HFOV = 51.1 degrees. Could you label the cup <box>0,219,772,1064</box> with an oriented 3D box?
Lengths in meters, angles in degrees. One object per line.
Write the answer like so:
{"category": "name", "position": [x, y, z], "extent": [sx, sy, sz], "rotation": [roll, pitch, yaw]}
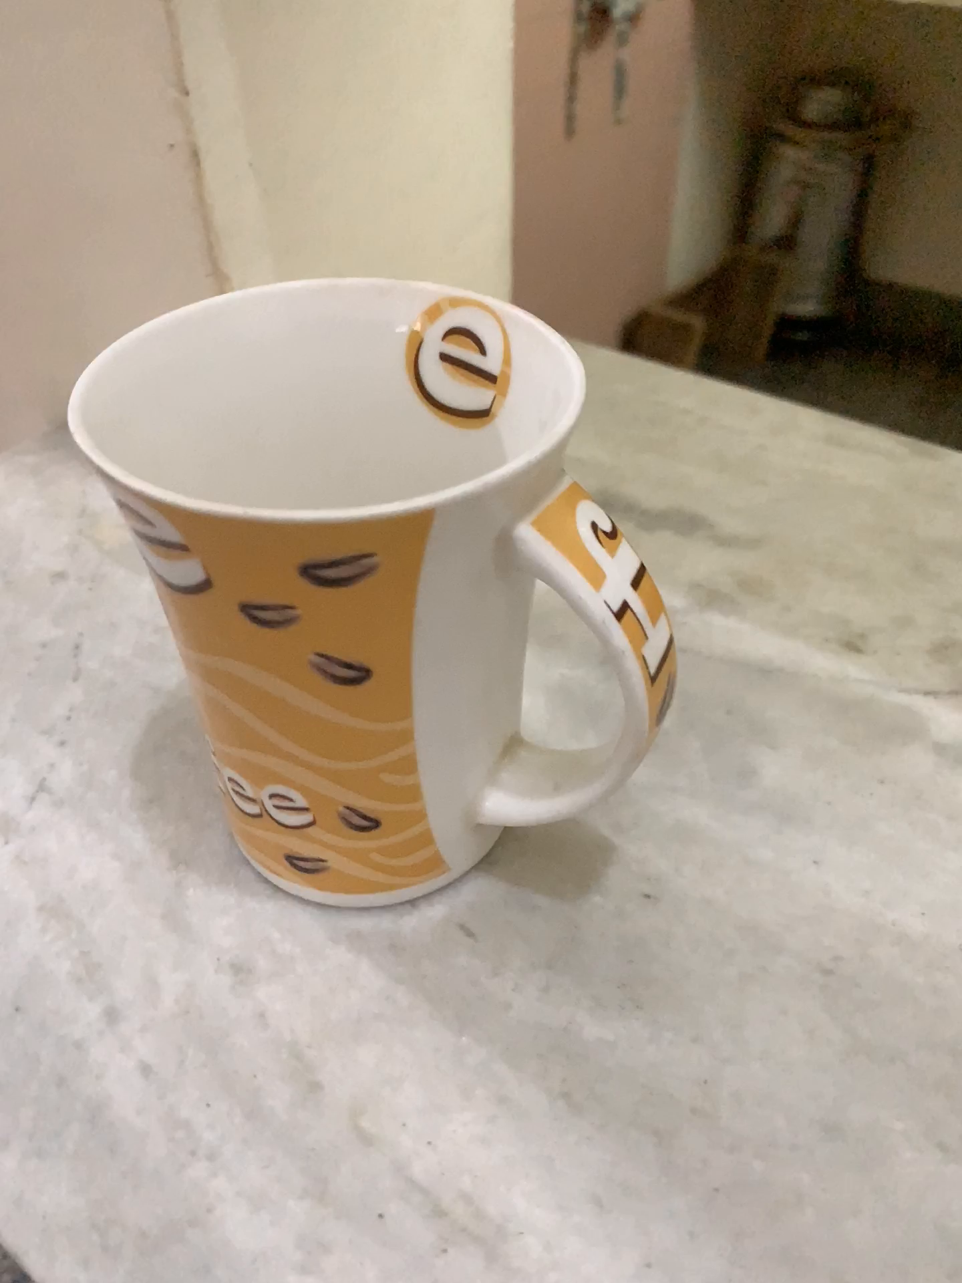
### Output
{"category": "cup", "position": [-0.017, -0.006, 0.181], "extent": [0.100, 0.100, 0.080], "rotation": [18, 43, 21]}
